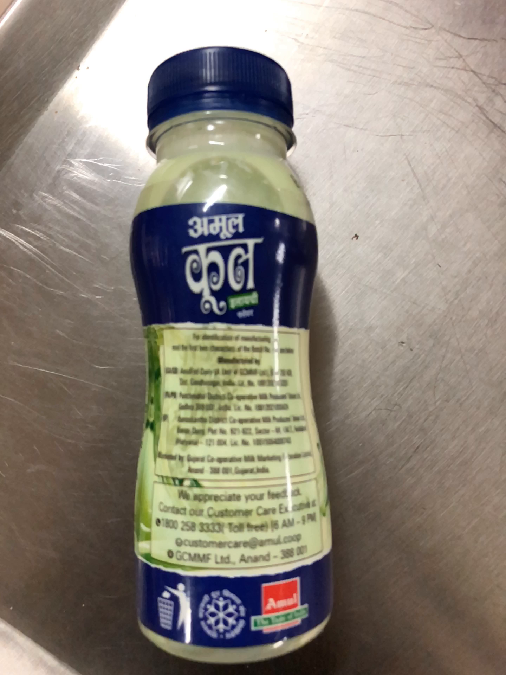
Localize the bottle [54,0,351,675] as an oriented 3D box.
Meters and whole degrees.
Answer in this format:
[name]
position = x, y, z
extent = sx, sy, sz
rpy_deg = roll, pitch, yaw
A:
[bottle]
position = -0.009, 0.001, 0.119
extent = 0.050, 0.040, 0.150
rpy_deg = -1, 87, 3
